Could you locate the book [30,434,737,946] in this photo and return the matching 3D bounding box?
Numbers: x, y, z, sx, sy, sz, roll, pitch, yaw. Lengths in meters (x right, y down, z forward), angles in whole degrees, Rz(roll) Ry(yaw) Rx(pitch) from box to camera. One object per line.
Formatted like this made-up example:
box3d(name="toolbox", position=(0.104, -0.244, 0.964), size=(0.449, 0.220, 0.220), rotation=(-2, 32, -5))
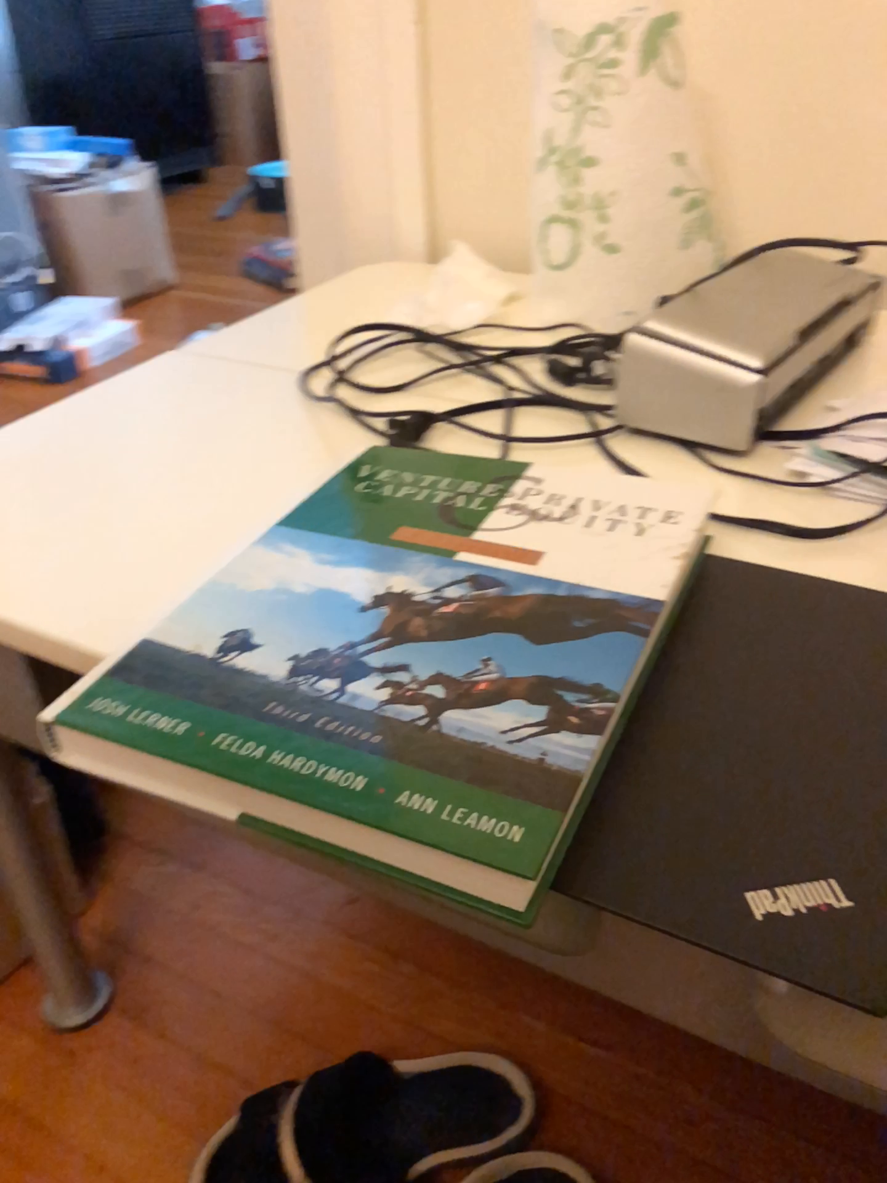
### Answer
box3d(name="book", position=(-0.006, 0.010, 0.454), size=(0.220, 0.030, 0.271), rotation=(13, 37, 22))
